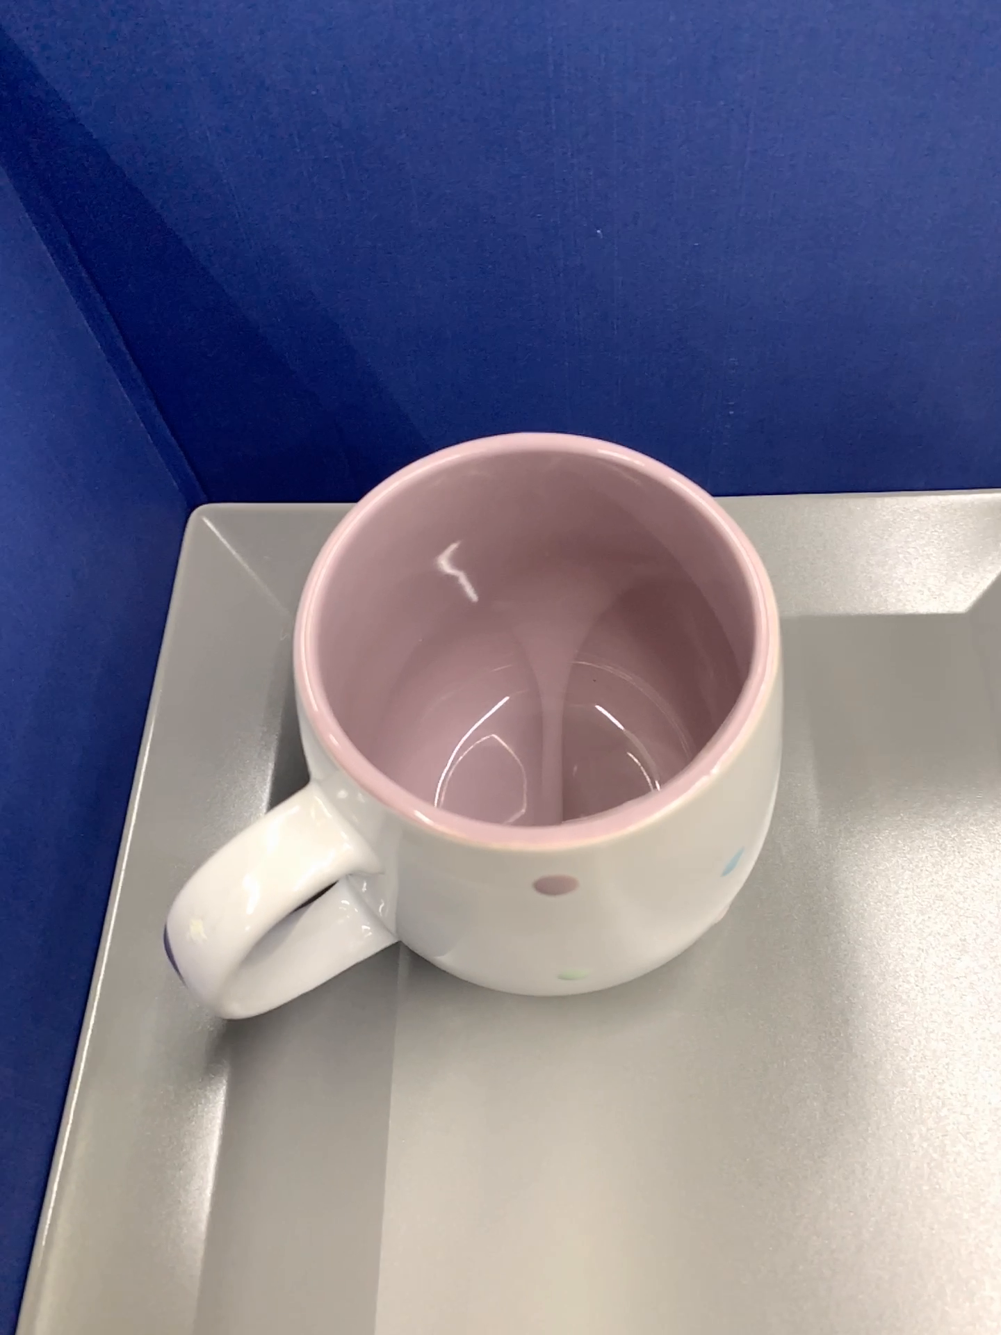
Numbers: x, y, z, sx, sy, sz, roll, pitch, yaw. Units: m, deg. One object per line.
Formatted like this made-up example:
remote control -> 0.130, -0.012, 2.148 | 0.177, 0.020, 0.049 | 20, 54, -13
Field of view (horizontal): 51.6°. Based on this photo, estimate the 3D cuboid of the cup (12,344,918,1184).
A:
cup -> -0.006, 0.020, 0.221 | 0.130, 0.089, 0.097 | -32, 61, -14
